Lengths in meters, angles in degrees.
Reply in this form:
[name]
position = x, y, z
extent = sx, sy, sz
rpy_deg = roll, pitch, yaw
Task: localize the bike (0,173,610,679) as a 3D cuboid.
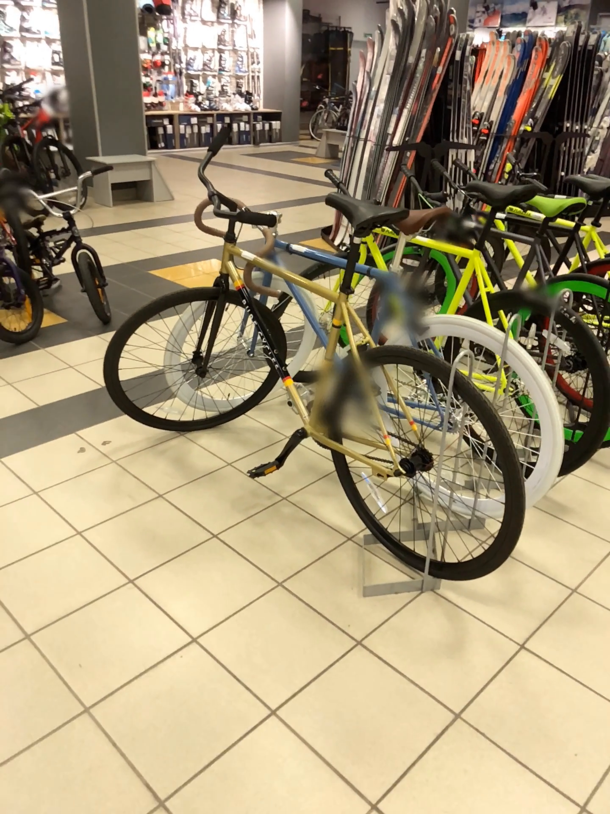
[bike]
position = -0.112, -0.057, 1.980
extent = 1.464, 1.092, 0.674
rpy_deg = 14, 27, 34
